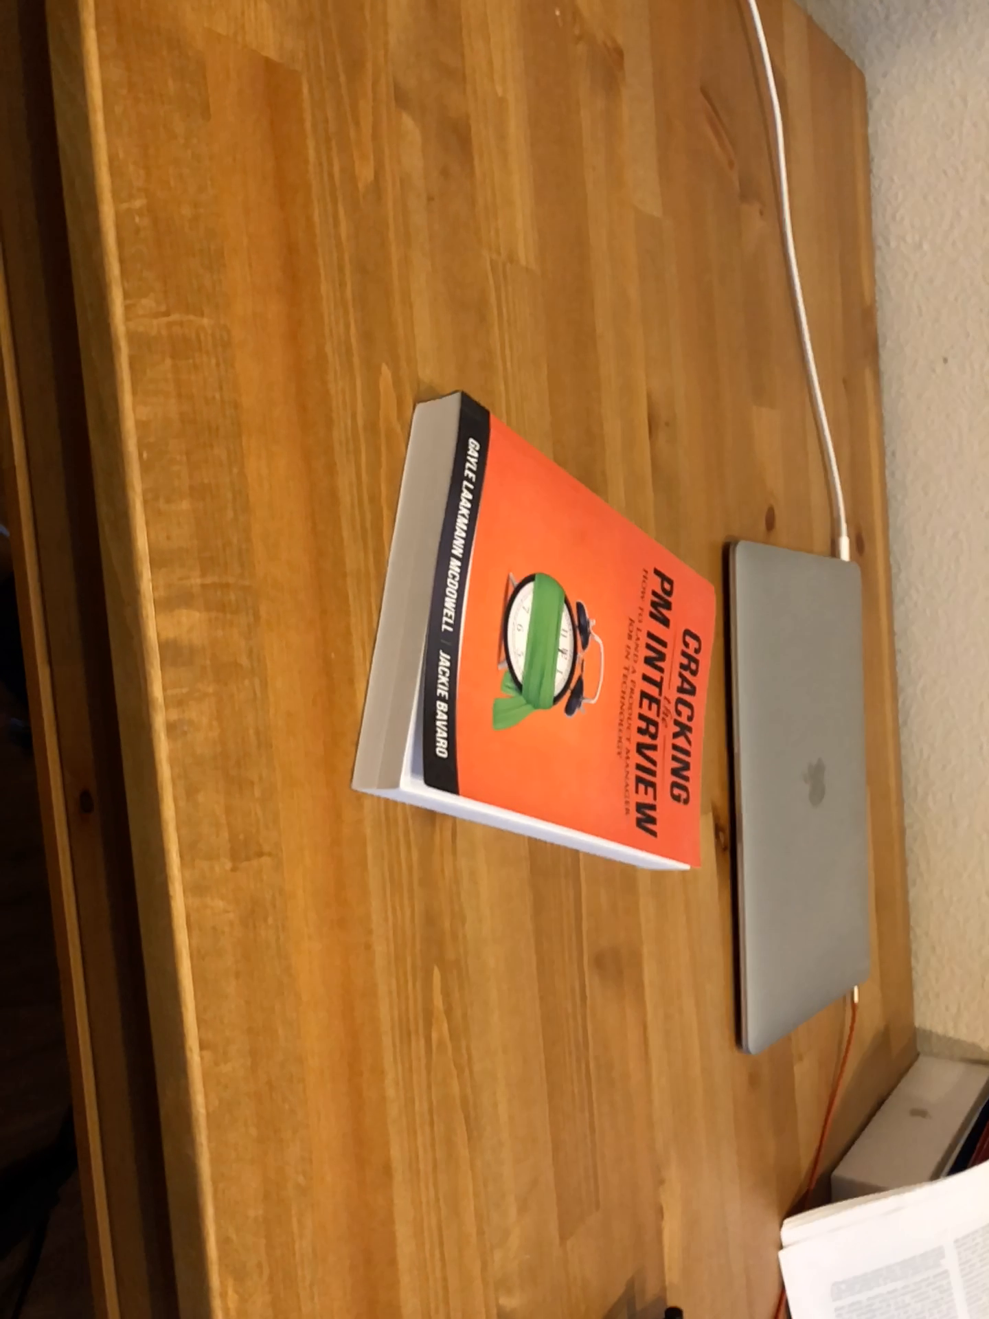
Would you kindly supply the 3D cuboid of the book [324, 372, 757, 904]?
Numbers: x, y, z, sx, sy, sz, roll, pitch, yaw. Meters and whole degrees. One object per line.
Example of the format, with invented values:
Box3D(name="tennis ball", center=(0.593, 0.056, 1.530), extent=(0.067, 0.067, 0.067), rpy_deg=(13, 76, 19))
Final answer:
Box3D(name="book", center=(0.041, 0.011, 0.478), extent=(0.252, 0.040, 0.160), rpy_deg=(25, 68, -51))
